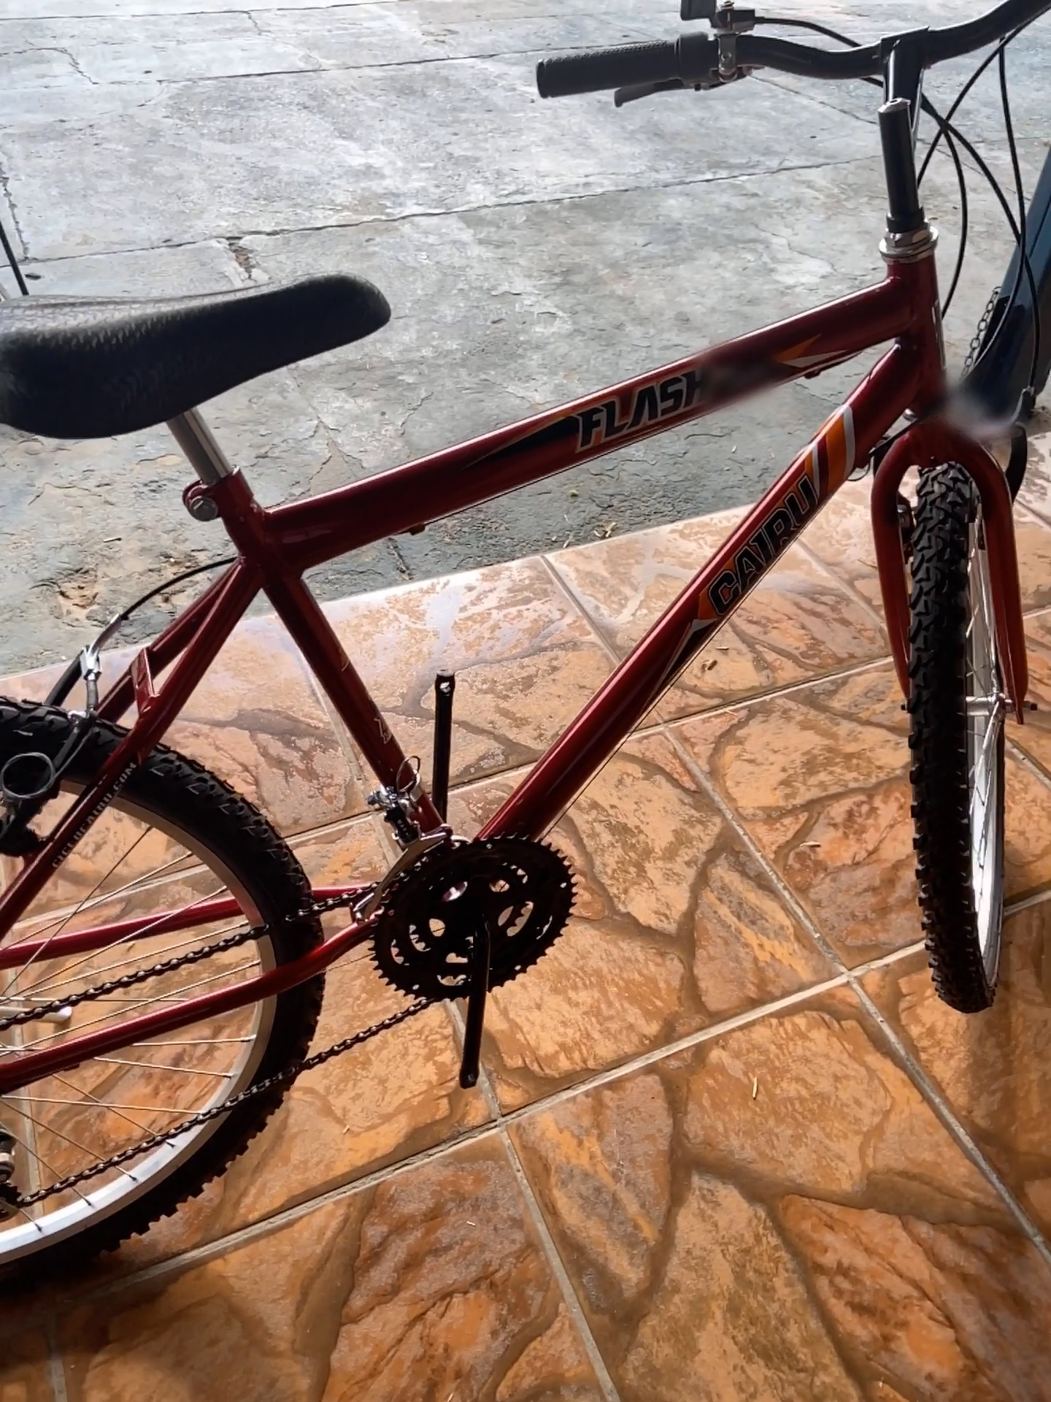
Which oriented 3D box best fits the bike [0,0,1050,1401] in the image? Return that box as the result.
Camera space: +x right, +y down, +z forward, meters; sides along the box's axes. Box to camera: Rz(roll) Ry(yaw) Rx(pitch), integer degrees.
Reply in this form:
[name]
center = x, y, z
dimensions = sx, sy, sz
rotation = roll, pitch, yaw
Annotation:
[bike]
center = -0.122, -0.082, 0.990
dimensions = 1.560, 0.985, 0.601
rotation = -20, 49, -24
